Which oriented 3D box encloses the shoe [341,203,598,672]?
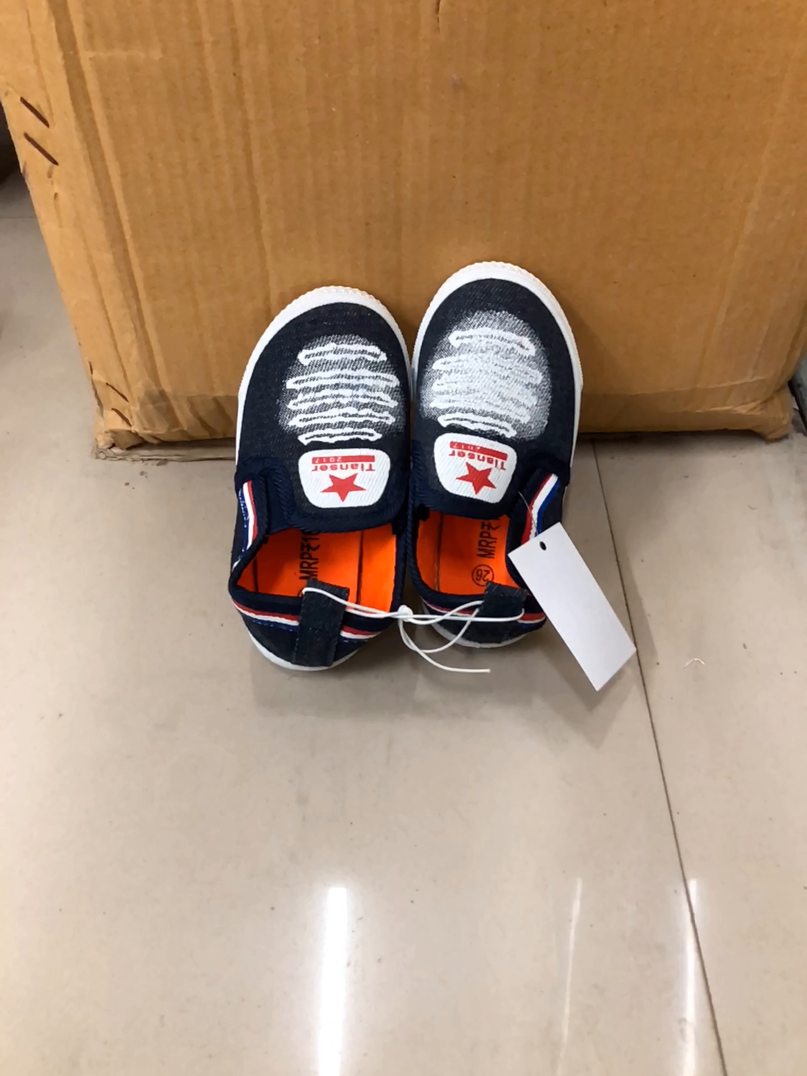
[{"bbox_3d":[0.024,-0.040,0.351,0.080,0.160,0.081,4,11,5],"label":"shoe"}]
